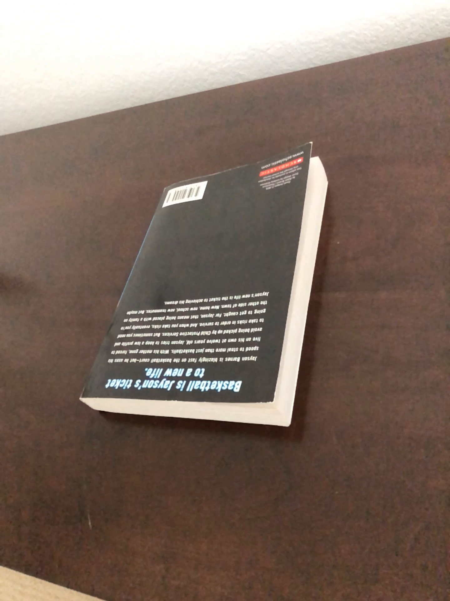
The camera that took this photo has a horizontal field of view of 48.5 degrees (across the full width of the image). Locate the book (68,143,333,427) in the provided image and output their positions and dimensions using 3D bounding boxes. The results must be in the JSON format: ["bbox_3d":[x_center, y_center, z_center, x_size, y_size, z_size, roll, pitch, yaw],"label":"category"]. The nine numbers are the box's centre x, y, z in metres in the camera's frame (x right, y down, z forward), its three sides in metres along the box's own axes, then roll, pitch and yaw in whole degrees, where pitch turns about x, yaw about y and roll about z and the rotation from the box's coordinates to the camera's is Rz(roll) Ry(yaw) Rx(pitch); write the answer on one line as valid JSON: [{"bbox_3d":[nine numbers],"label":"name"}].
[{"bbox_3d":[-0.009,-0.016,0.349,0.140,0.036,0.198,-5,52,29],"label":"book"}]
